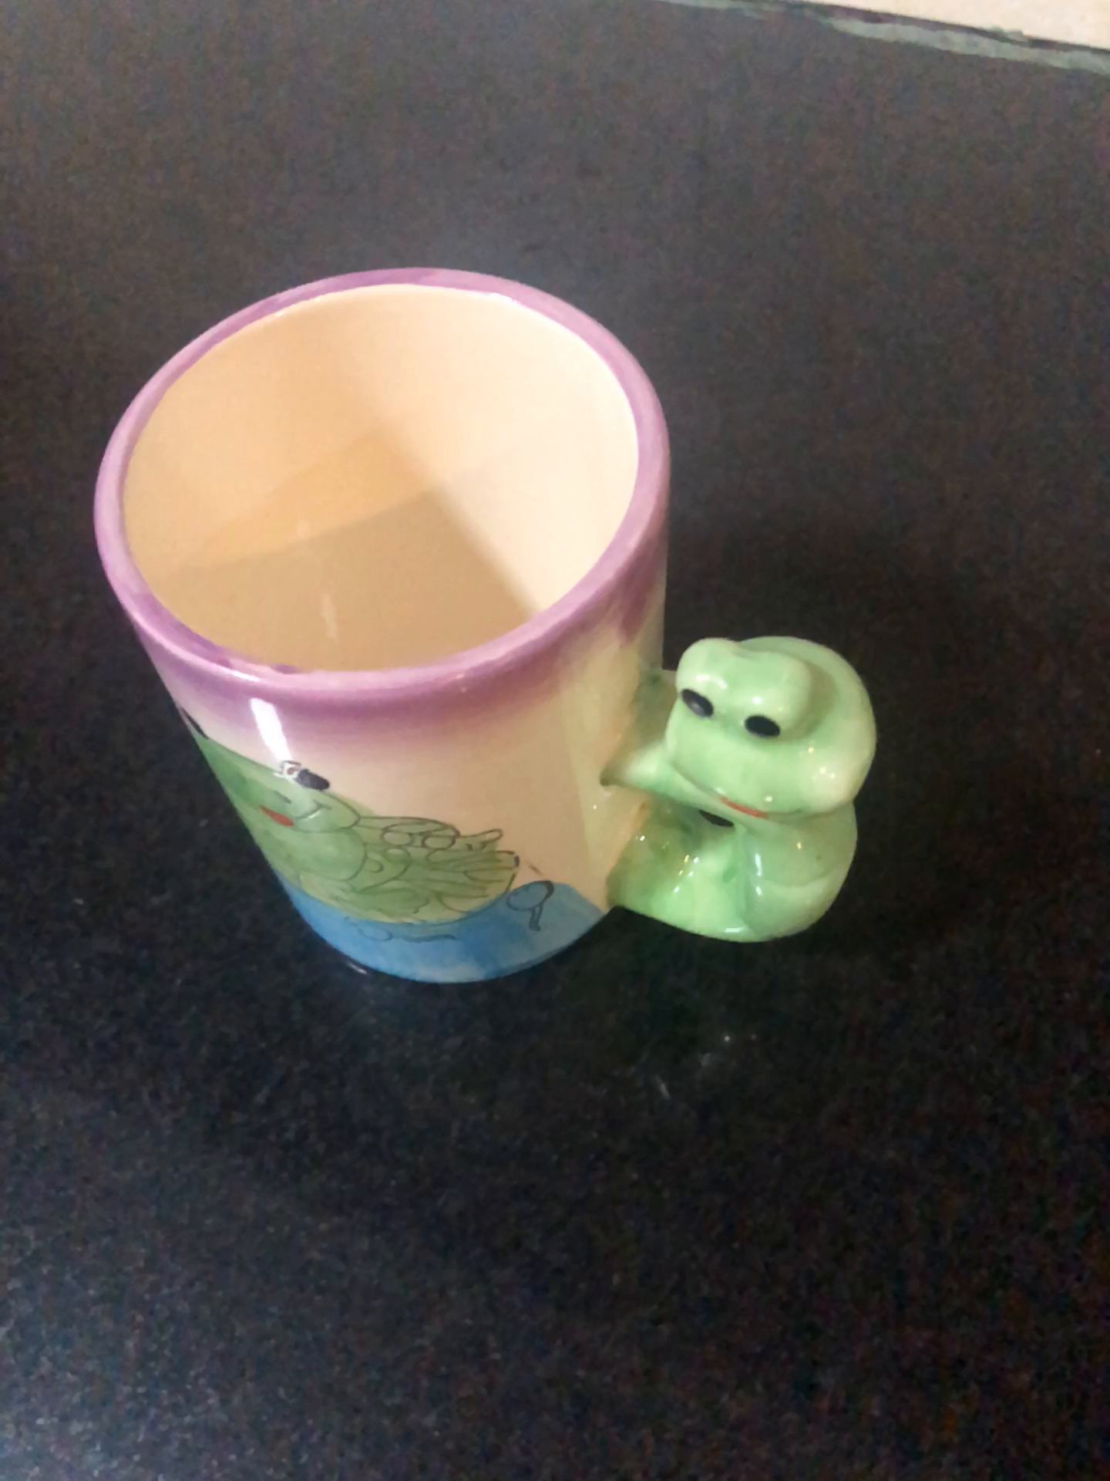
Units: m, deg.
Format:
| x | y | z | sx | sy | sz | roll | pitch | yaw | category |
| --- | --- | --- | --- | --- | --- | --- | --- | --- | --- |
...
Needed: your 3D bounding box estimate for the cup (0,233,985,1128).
| x | y | z | sx | sy | sz | roll | pitch | yaw | category |
| --- | --- | --- | --- | --- | --- | --- | --- | --- | --- |
| -0.002 | -0.004 | 0.202 | 0.110 | 0.109 | 0.080 | 10 | 58 | 9 | cup |
